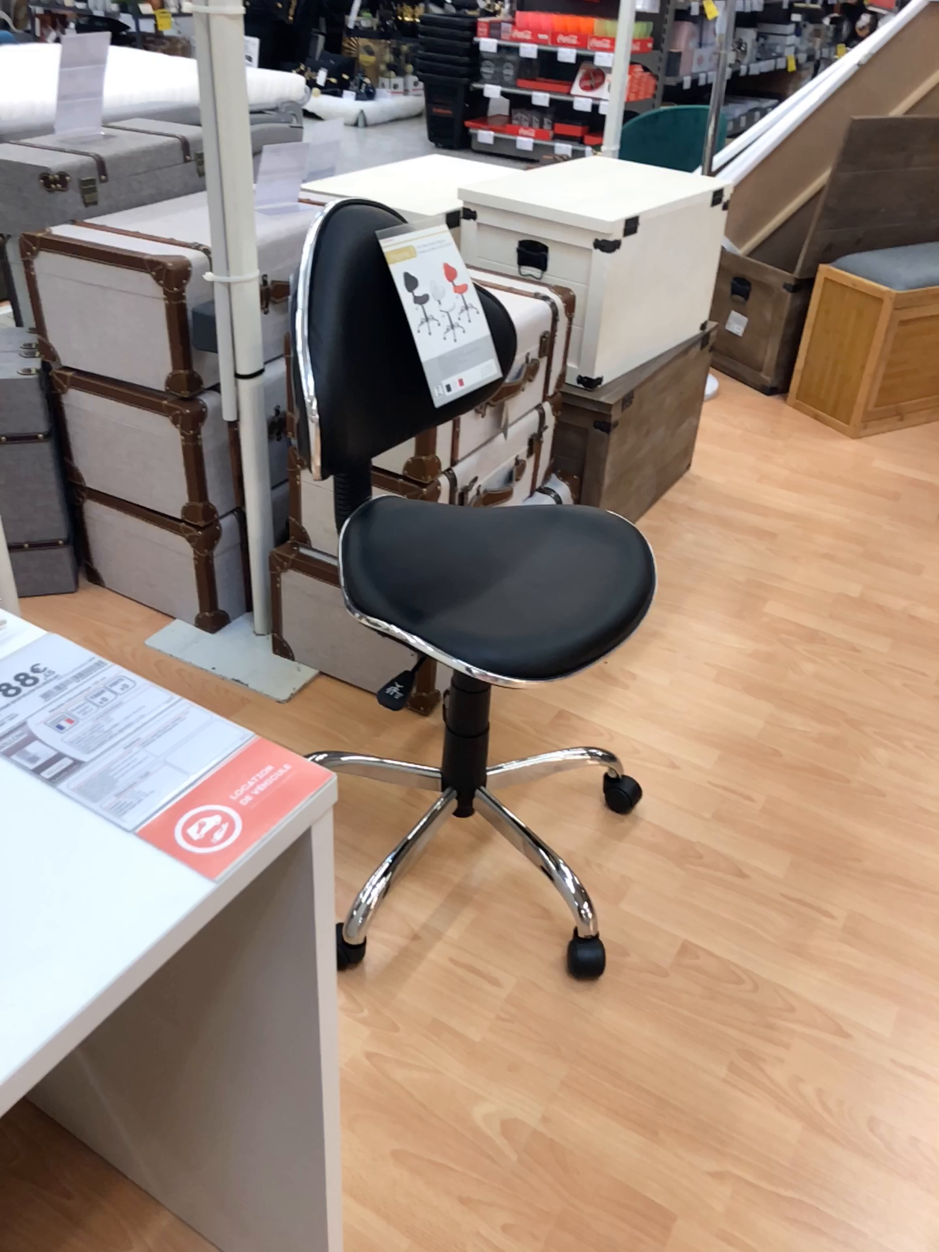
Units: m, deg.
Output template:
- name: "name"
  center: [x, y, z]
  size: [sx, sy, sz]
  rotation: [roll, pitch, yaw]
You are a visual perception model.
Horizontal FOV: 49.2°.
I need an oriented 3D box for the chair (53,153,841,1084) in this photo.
- name: "chair"
  center: [0.003, -0.052, 1.294]
  size: [0.609, 0.855, 0.604]
  rotation: [17, 36, 19]
